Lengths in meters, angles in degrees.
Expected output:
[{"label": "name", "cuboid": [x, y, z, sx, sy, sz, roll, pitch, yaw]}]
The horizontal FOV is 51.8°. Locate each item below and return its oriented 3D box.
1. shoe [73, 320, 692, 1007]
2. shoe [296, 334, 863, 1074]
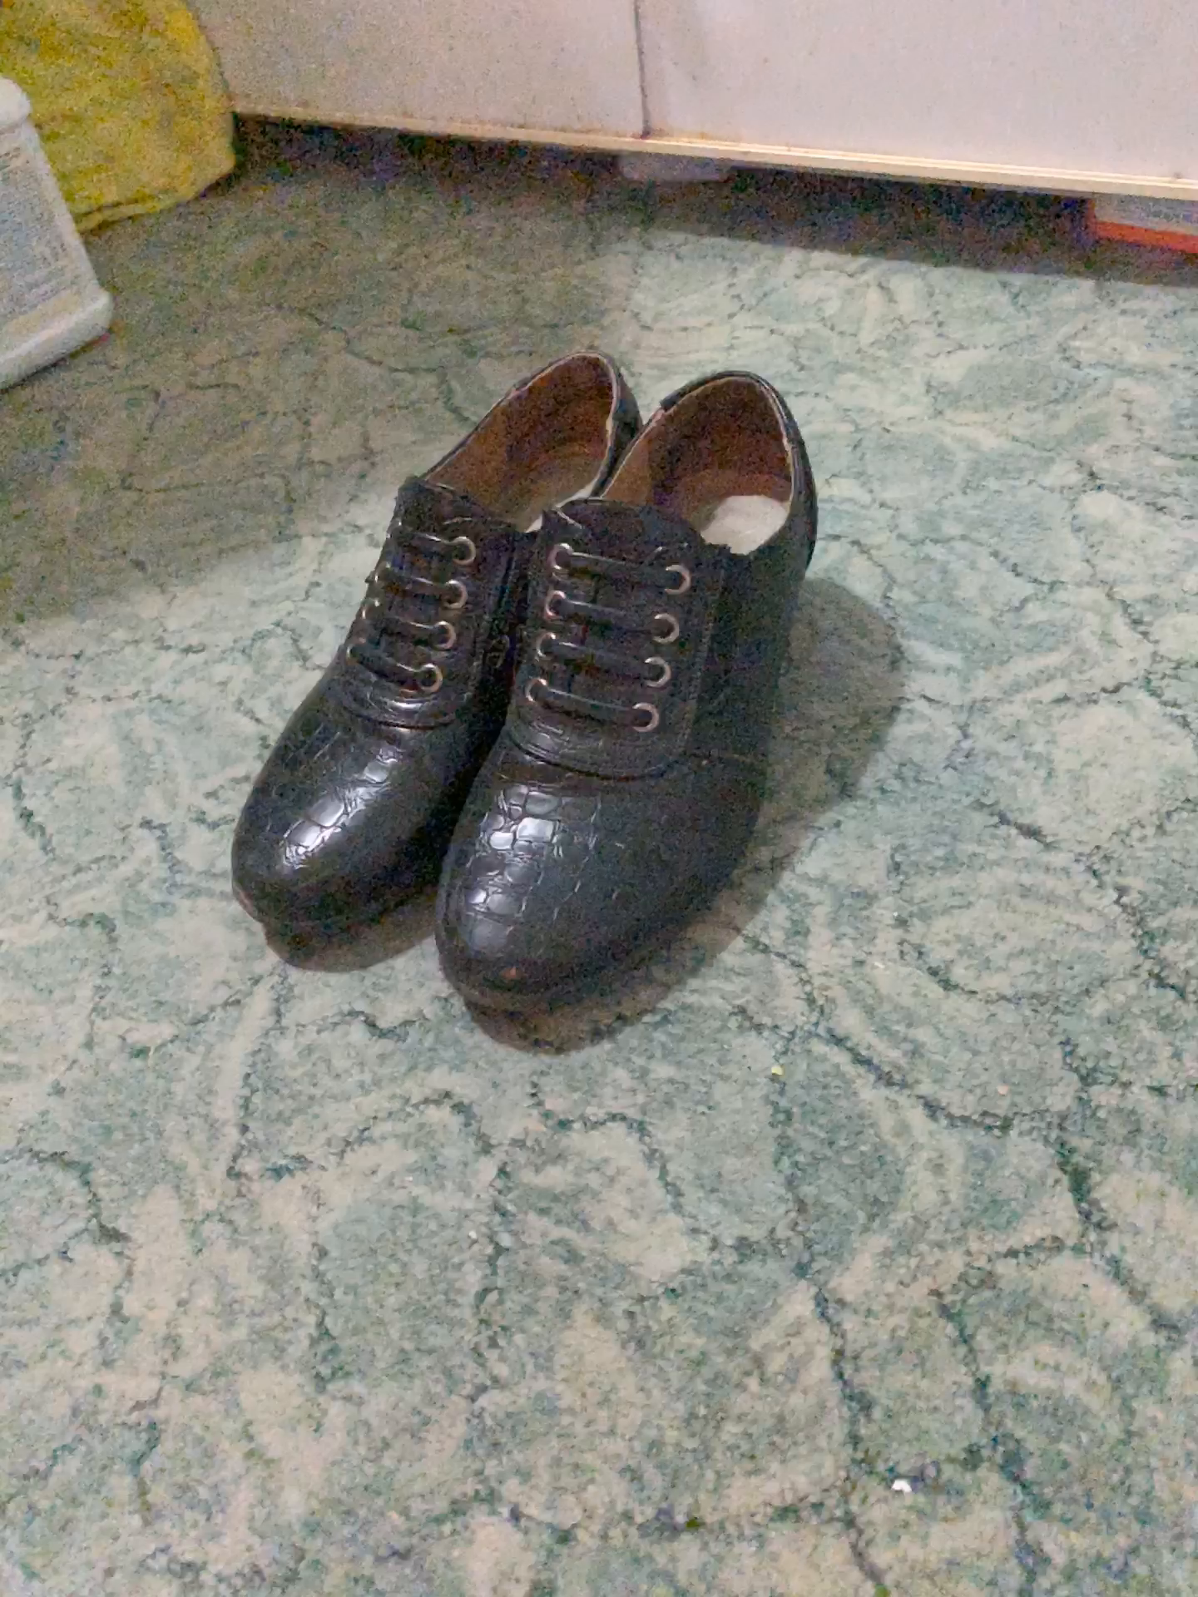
[{"label": "shoe", "cuboid": [-0.056, -0.059, 0.447, 0.090, 0.119, 0.221, 17, 52, 23]}, {"label": "shoe", "cuboid": [0.012, -0.042, 0.407, 0.090, 0.119, 0.211, 14, 51, 21]}]
